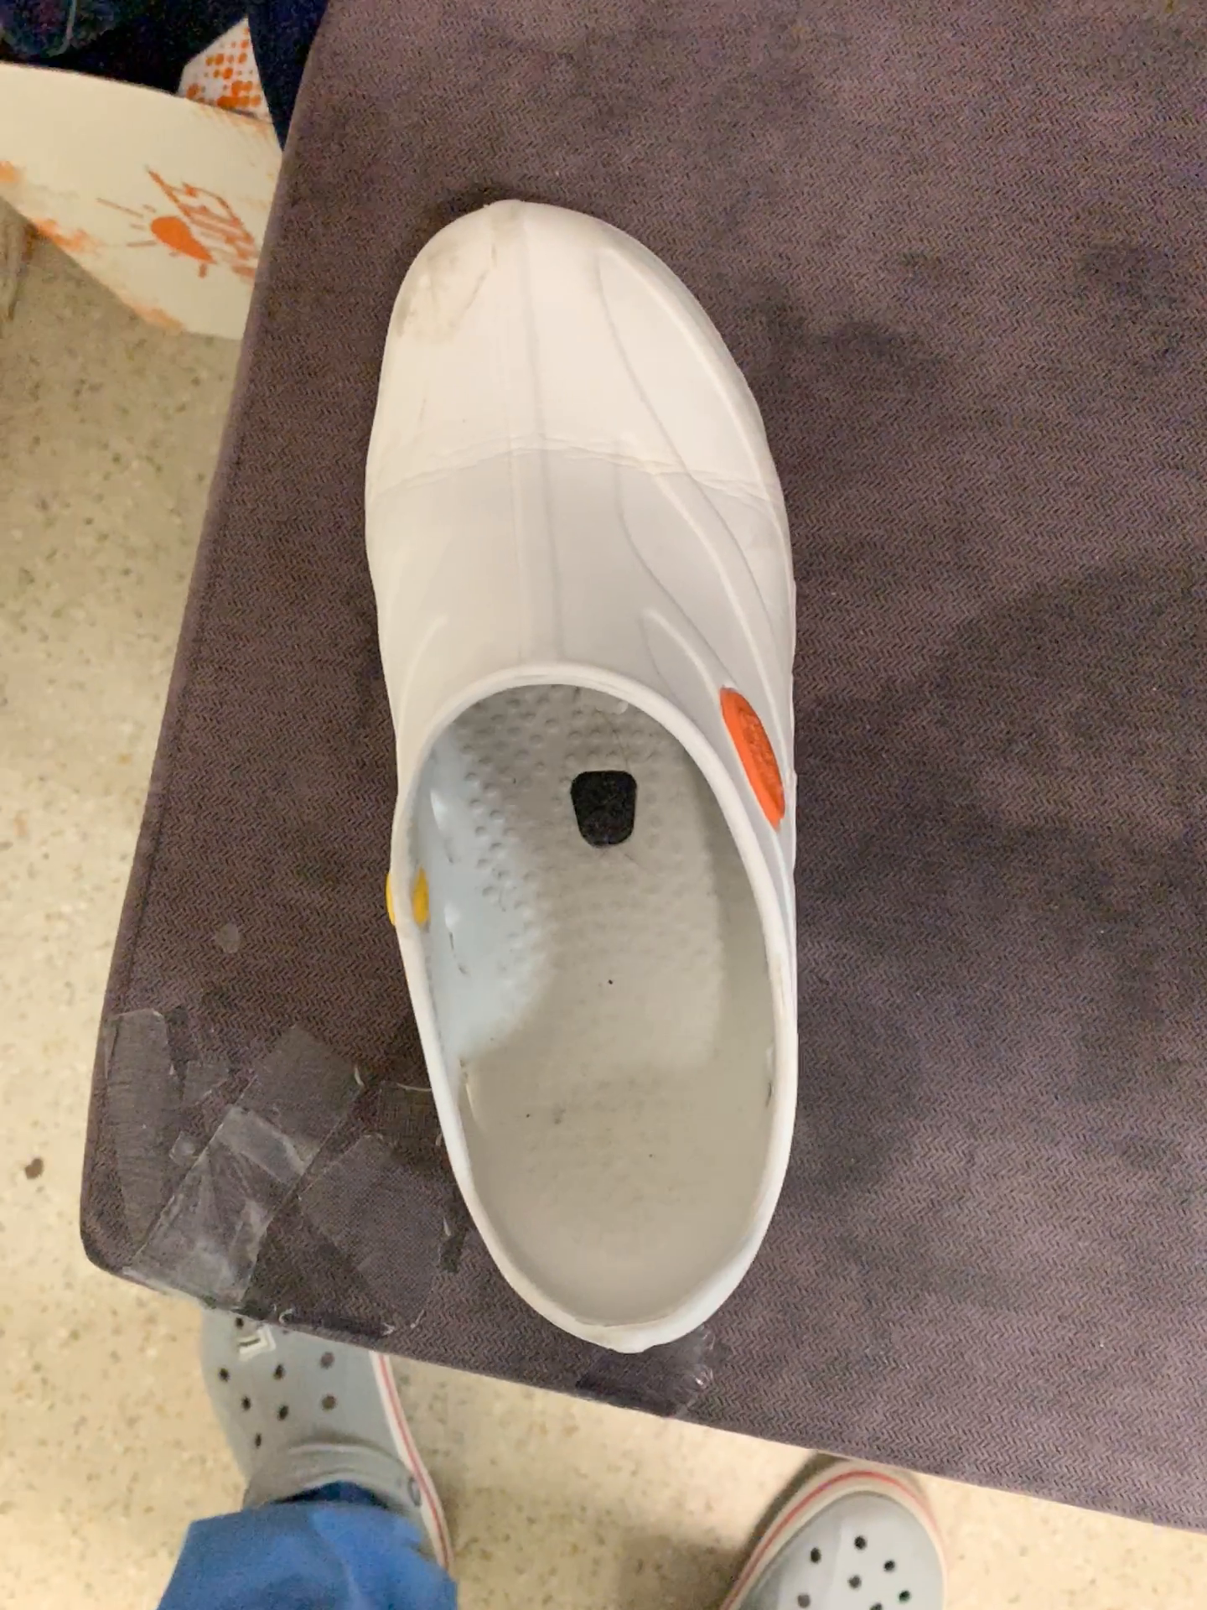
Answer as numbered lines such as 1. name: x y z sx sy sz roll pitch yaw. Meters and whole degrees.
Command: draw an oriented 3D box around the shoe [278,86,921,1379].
1. shoe: 0.001 -0.011 0.259 0.091 0.093 0.213 -5 88 4
